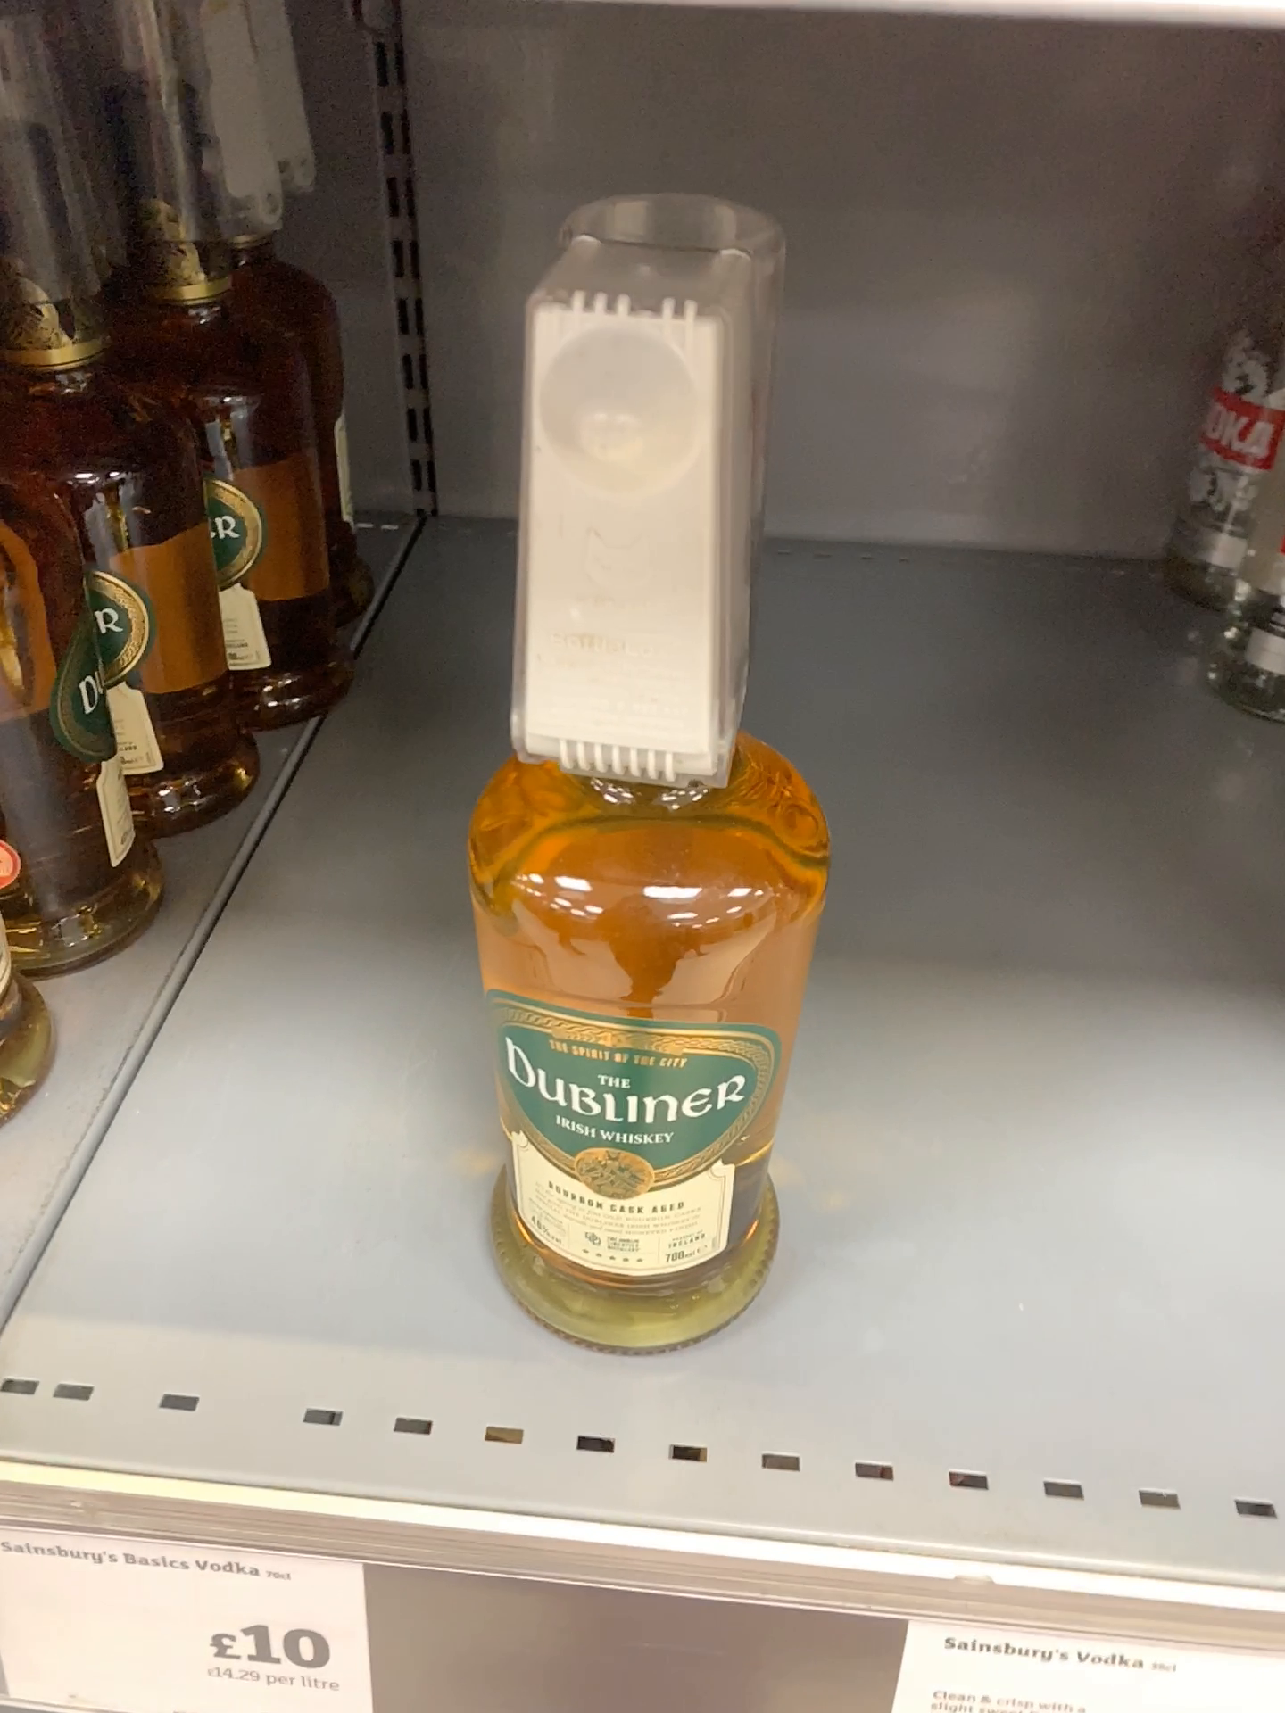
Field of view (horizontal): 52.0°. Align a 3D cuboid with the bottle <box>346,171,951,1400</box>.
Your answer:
[{"bbox_3d":[0.004,0.003,0.319,0.089,0.283,0.091,1,37,-1],"label":"bottle"}]
